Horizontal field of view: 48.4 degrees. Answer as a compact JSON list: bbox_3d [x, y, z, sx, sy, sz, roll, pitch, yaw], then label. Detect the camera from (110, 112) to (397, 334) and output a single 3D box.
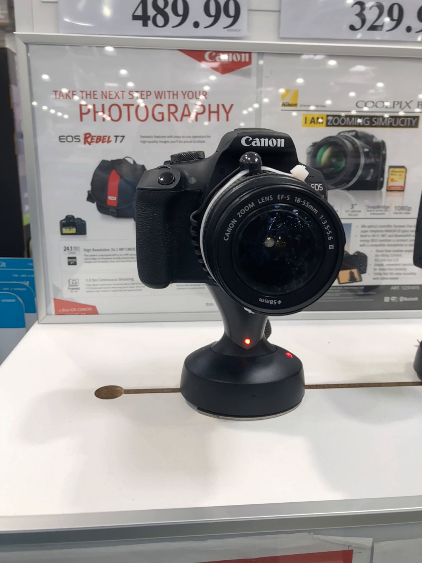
[{"bbox_3d":[0.013,-0.040,0.278,0.130,0.100,0.120,-1,14,-7],"label":"camera"}]
